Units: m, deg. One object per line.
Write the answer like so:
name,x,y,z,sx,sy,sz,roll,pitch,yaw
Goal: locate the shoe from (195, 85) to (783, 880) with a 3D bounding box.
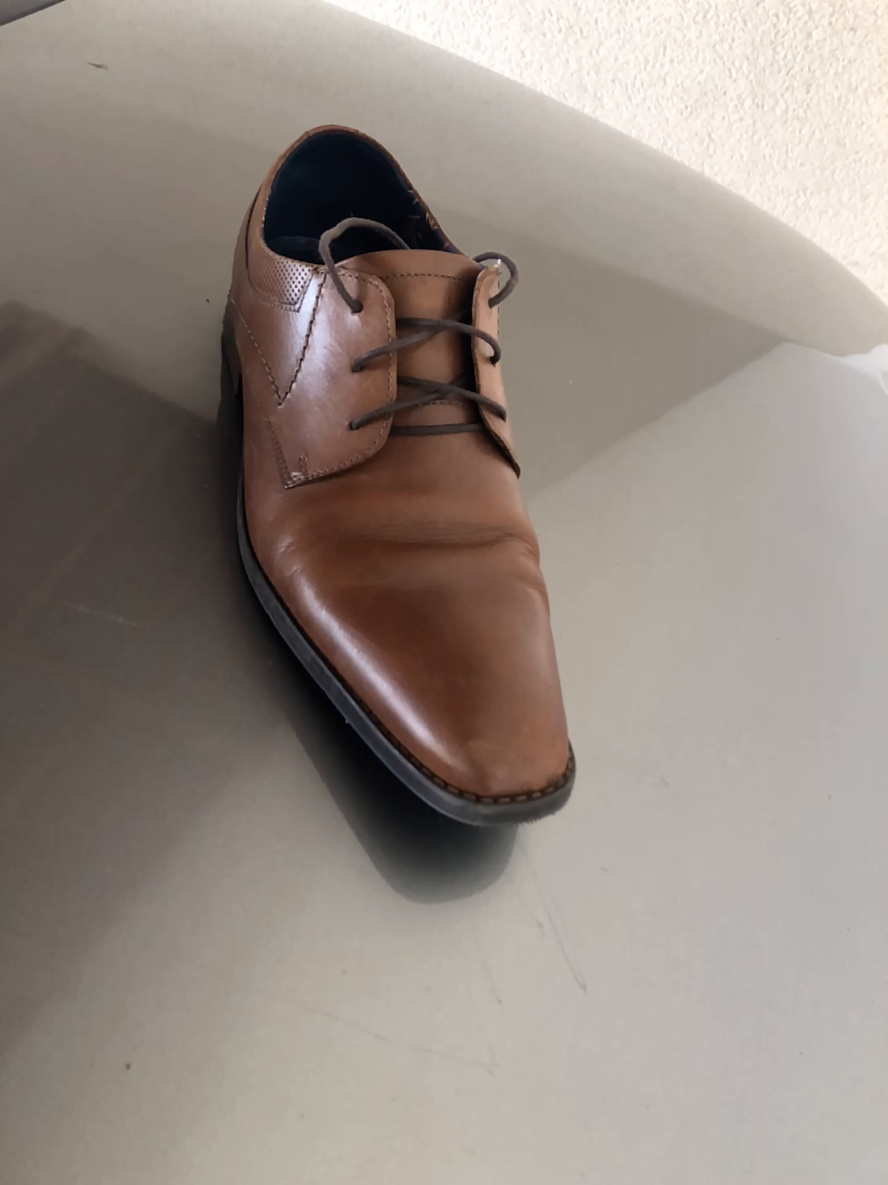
shoe,-0.019,-0.078,0.373,0.130,0.089,0.342,-4,48,-13
